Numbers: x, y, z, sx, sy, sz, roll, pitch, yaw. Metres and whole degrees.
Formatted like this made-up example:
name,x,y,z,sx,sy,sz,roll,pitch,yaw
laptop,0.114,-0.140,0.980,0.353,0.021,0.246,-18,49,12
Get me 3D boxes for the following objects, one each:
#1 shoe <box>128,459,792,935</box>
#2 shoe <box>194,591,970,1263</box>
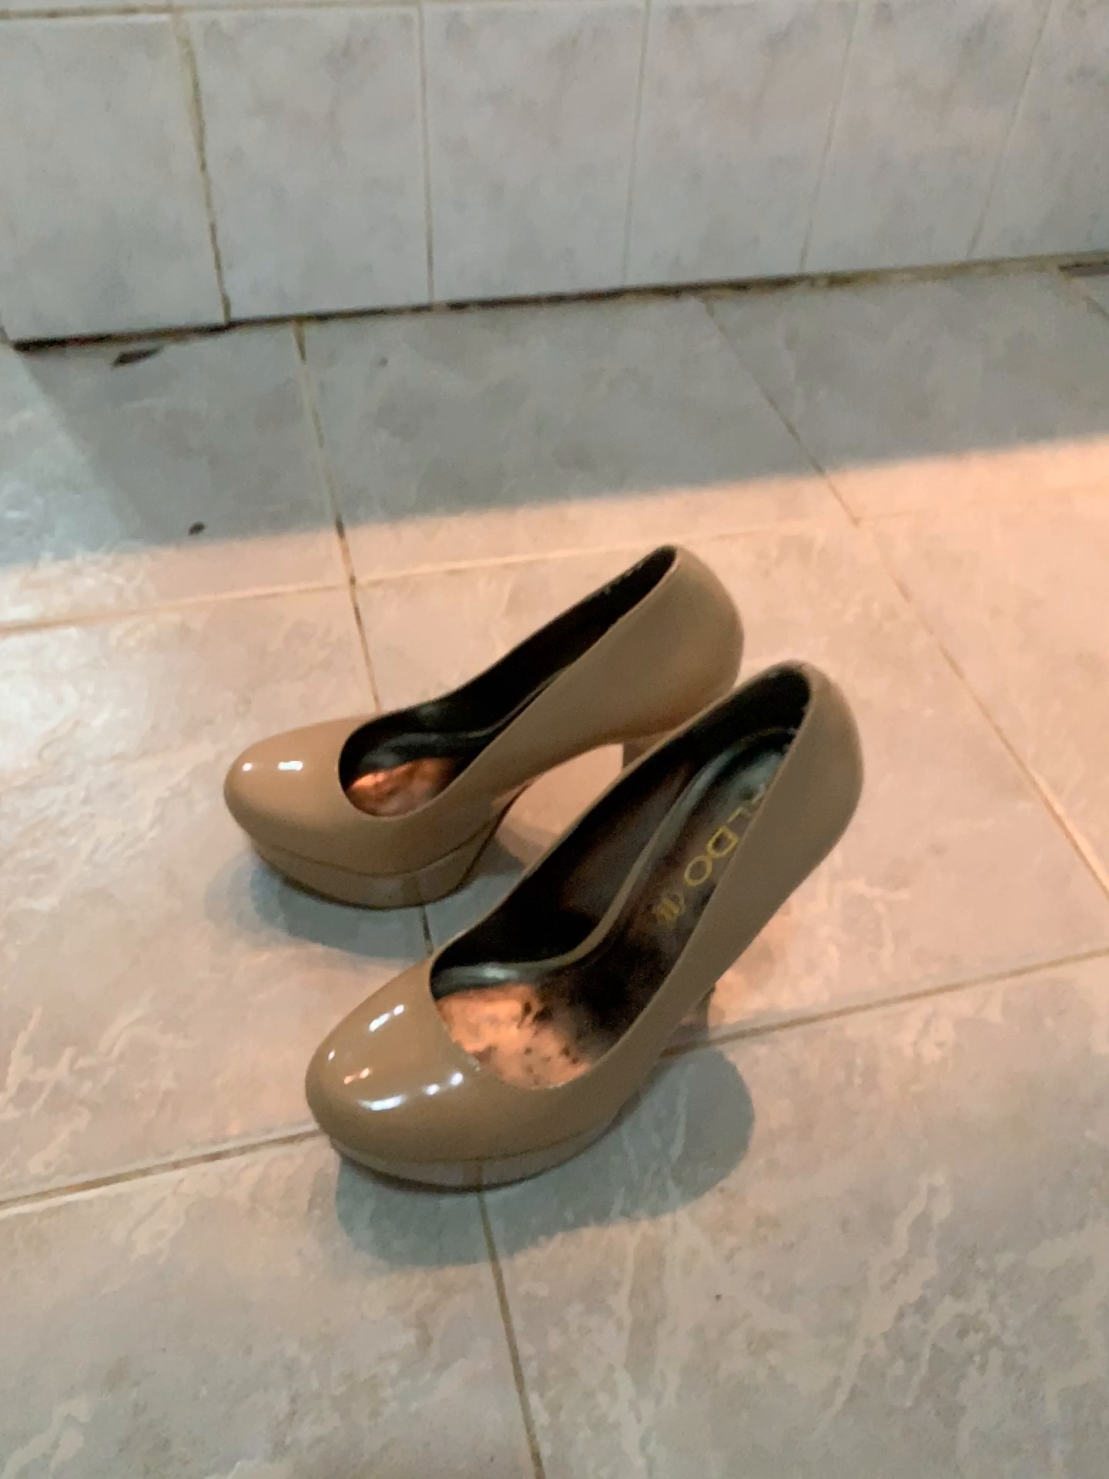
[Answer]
name,x,y,z,sx,sy,sz,roll,pitch,yaw
shoe,-0.035,-0.011,0.456,0.210,0.176,0.087,-2,48,-5
shoe,0.007,0.065,0.394,0.210,0.166,0.087,-18,52,-19
